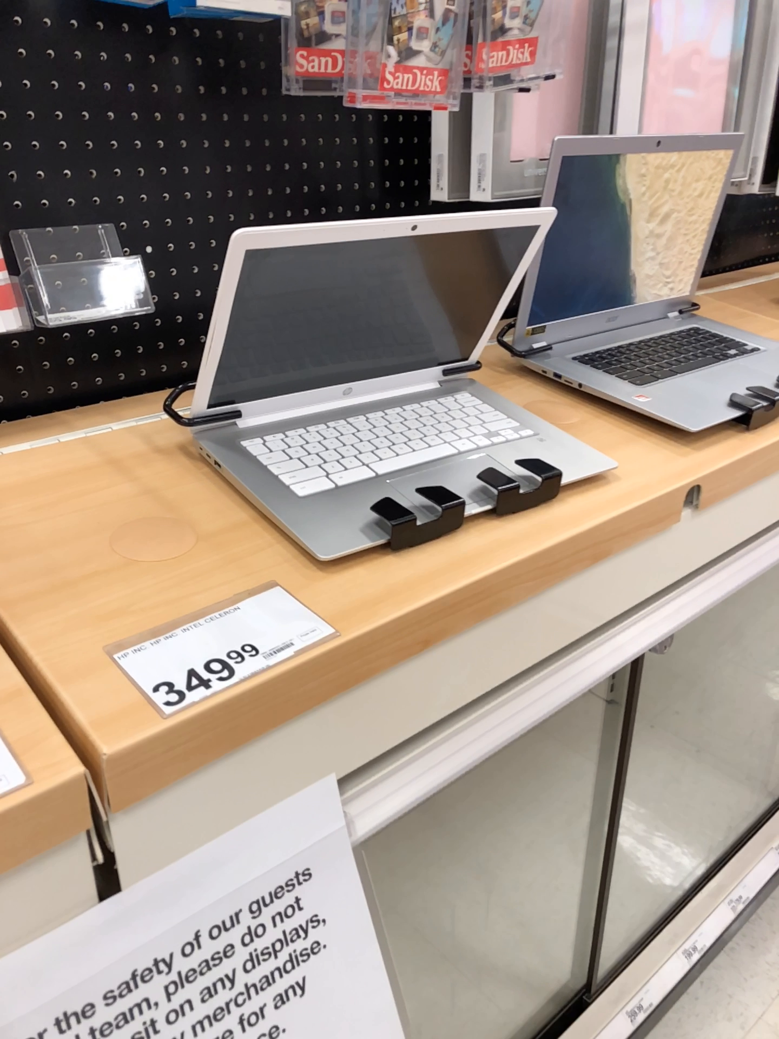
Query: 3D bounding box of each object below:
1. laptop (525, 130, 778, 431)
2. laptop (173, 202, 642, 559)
[{"bbox_3d":[0.357,-0.288,0.955,0.321,0.231,0.231,-20,34,-33],"label":"laptop"},{"bbox_3d":[0.022,-0.142,0.724,0.322,0.172,0.201,-17,36,-33],"label":"laptop"}]
